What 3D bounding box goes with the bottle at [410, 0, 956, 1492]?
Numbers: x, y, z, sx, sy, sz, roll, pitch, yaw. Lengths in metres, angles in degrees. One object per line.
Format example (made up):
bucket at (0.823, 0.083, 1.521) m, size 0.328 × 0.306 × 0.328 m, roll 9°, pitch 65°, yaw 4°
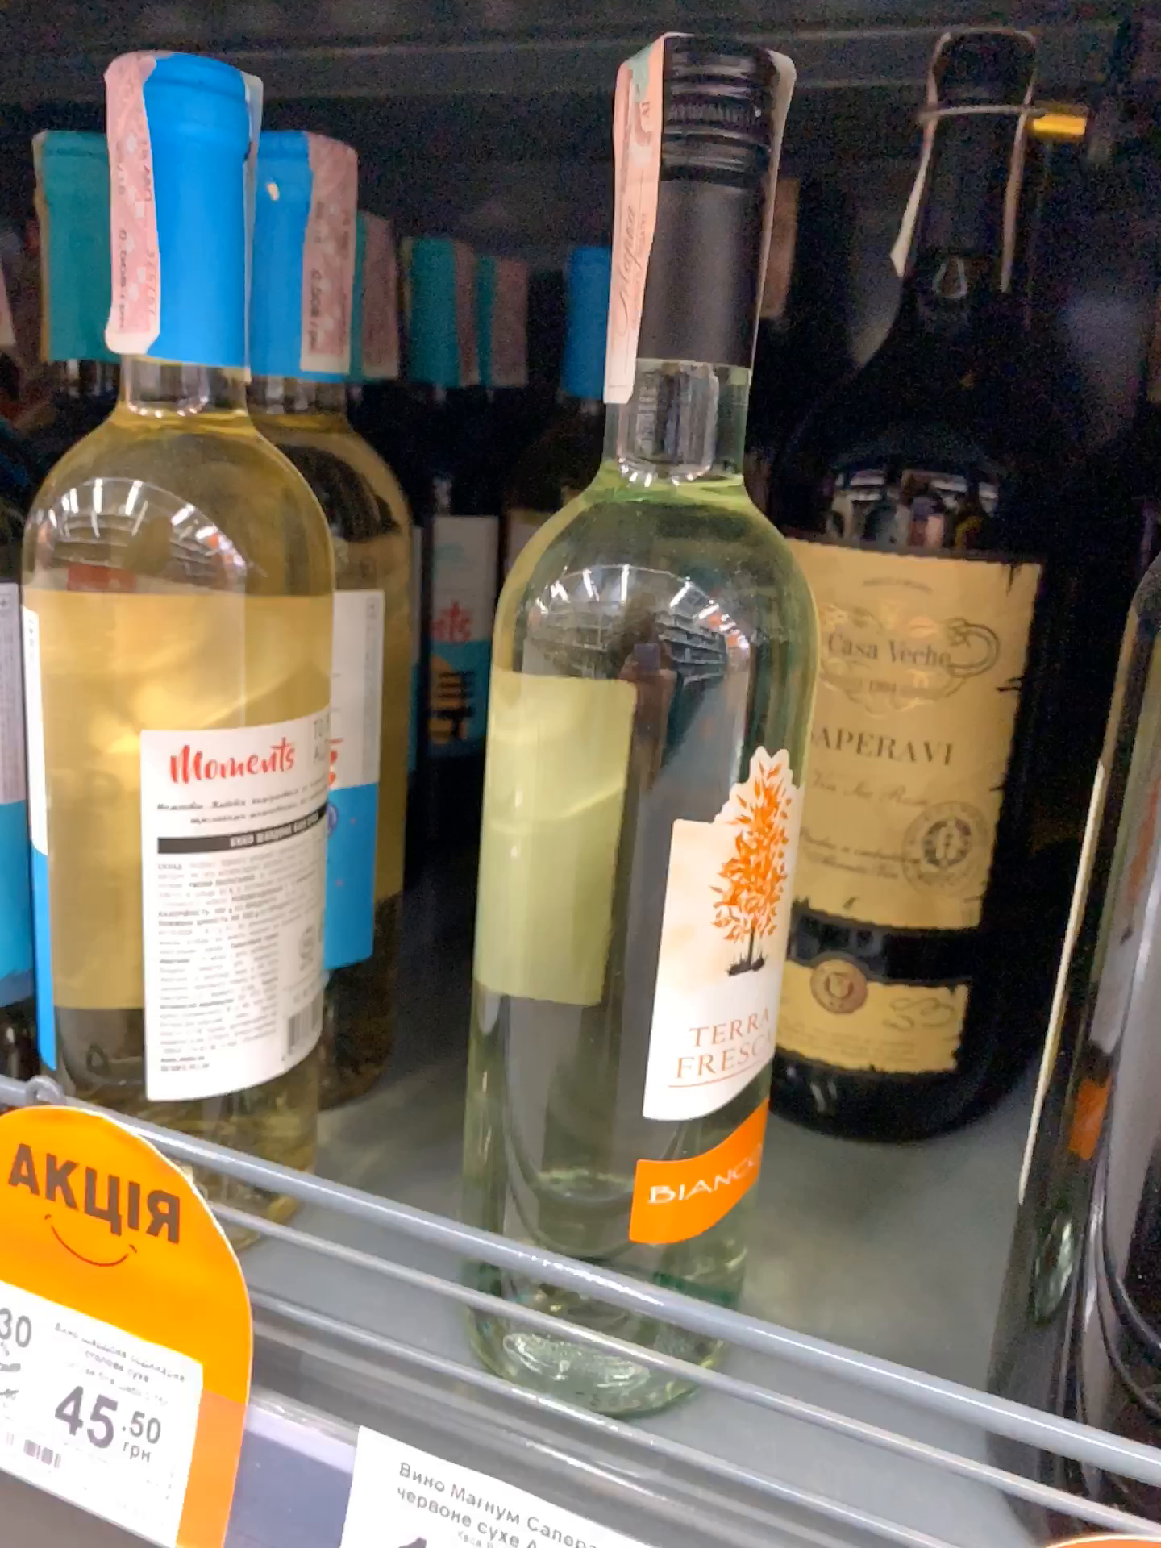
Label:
bottle at (0.014, 0.001, 0.270) m, size 0.070 × 0.294 × 0.070 m, roll 3°, pitch 17°, yaw -1°
